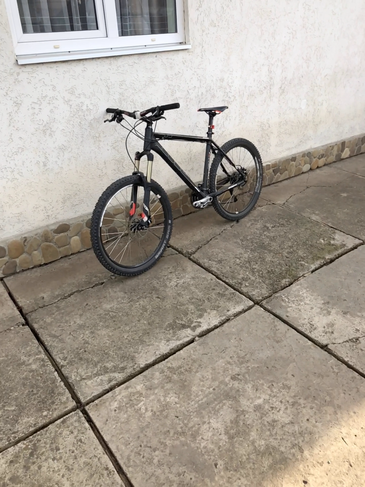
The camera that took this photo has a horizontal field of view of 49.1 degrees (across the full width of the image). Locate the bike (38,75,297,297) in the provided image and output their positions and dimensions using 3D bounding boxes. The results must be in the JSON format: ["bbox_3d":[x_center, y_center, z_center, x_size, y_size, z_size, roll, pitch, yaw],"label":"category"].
[{"bbox_3d":[0.013,-0.569,2.985,1.780,1.090,0.687,-26,37,-37],"label":"bike"}]
